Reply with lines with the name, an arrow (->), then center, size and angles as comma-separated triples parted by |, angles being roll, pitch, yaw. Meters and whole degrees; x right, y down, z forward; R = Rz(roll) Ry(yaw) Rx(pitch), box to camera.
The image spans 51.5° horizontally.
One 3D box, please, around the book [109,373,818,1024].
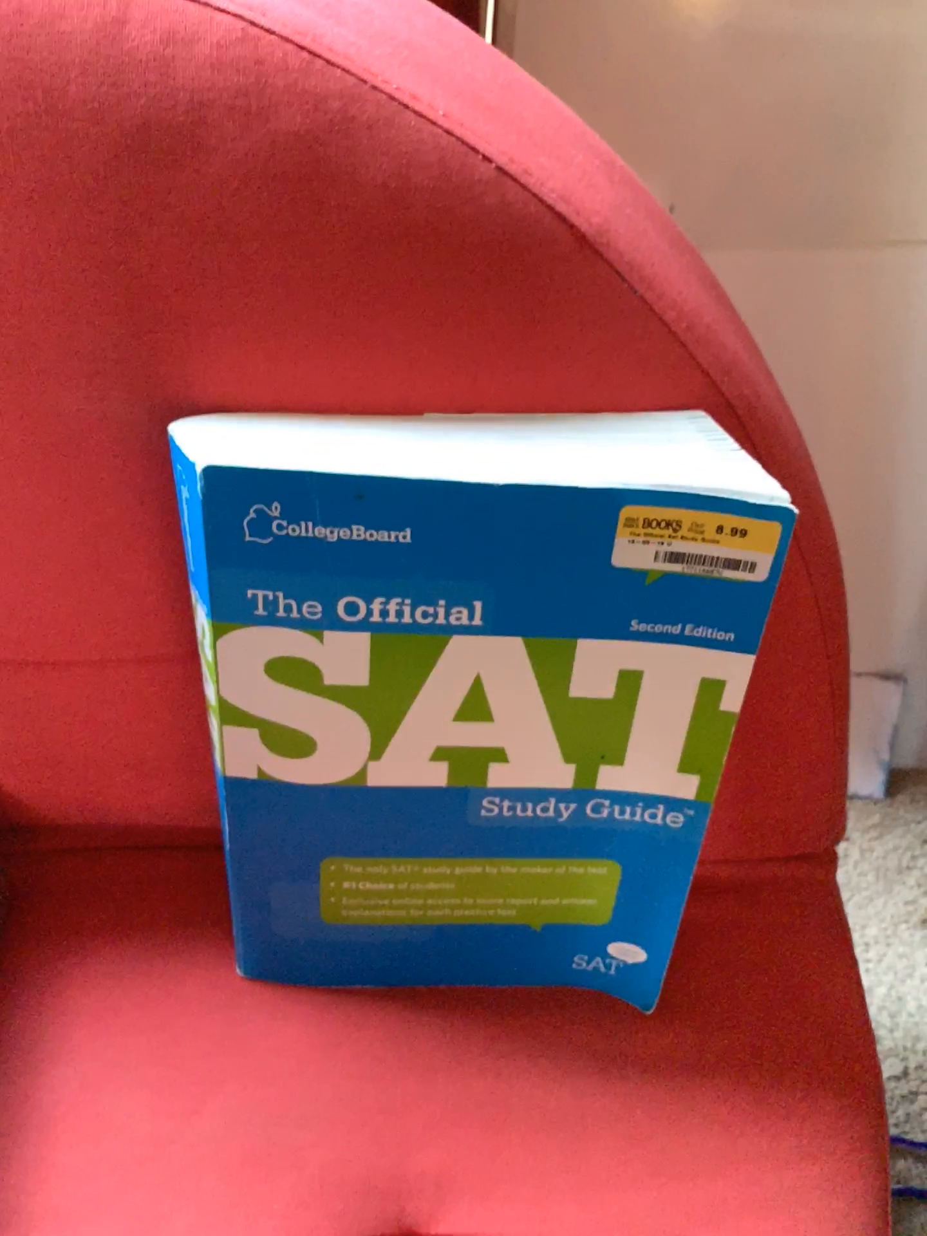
book -> -0.005, 0.042, 0.406 | 0.230, 0.259, 0.080 | 3, 27, 0
